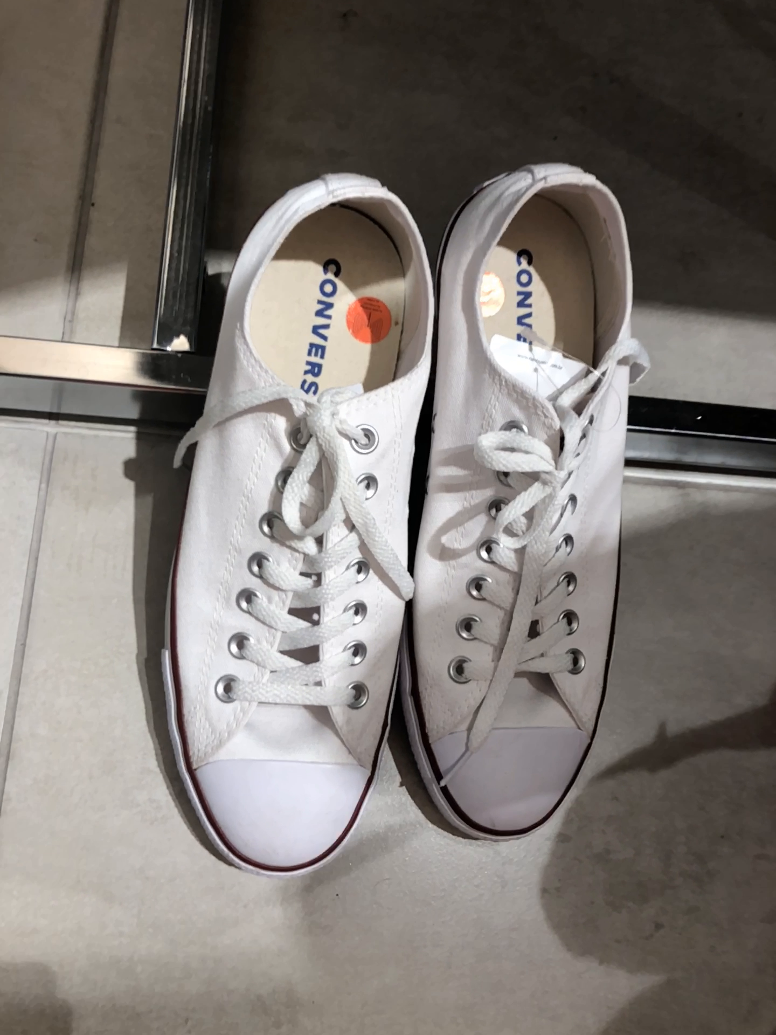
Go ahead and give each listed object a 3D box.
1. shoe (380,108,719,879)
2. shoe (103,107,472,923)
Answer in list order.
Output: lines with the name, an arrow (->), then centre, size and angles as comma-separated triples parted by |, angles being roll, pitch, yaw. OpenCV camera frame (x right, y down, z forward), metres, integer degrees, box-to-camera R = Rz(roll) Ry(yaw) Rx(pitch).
shoe -> 0.061, -0.006, 0.374 | 0.100, 0.090, 0.290 | 3, 94, -9
shoe -> -0.043, 0.004, 0.357 | 0.110, 0.090, 0.290 | 5, 94, -8
